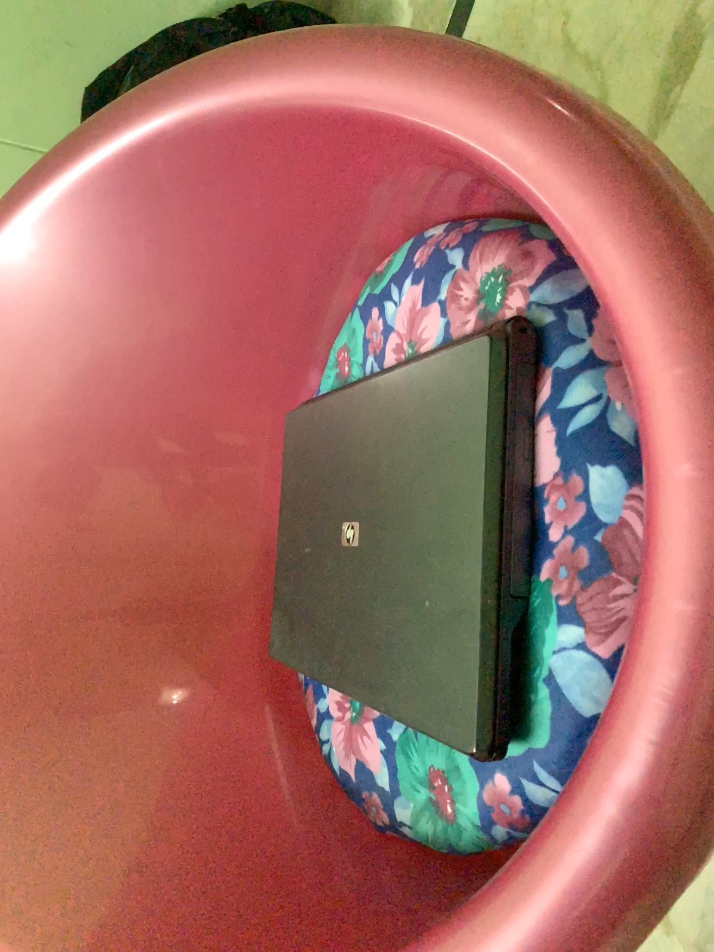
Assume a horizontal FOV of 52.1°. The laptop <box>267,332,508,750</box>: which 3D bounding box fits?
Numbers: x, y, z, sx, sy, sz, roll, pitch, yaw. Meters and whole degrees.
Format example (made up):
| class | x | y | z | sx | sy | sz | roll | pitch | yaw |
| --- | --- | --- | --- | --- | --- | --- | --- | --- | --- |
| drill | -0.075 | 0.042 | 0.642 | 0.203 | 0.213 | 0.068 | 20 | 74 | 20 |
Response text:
| class | x | y | z | sx | sy | sz | roll | pitch | yaw |
| --- | --- | --- | --- | --- | --- | --- | --- | --- | --- |
| laptop | 0.001 | 0.040 | 0.522 | 0.305 | 0.003 | 0.222 | -6 | 80 | 60 |
